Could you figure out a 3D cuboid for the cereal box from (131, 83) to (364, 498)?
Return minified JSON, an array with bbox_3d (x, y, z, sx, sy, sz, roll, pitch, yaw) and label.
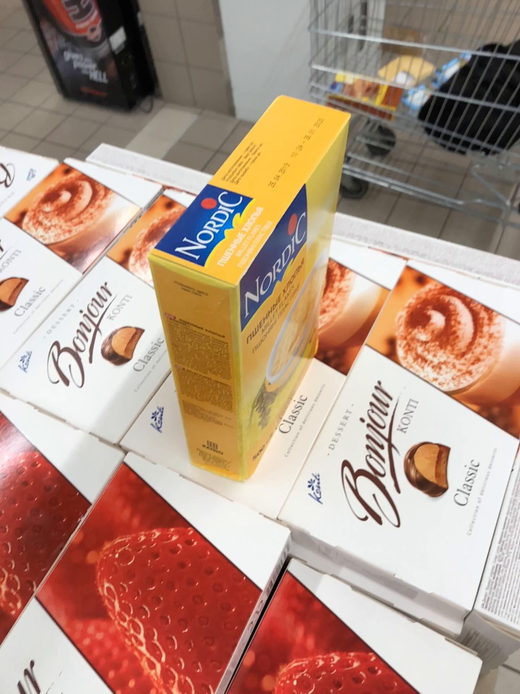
[{"bbox_3d":[-0.002,-0.023,0.374,0.050,0.219,0.161,22,56,13],"label":"cereal box"}]
